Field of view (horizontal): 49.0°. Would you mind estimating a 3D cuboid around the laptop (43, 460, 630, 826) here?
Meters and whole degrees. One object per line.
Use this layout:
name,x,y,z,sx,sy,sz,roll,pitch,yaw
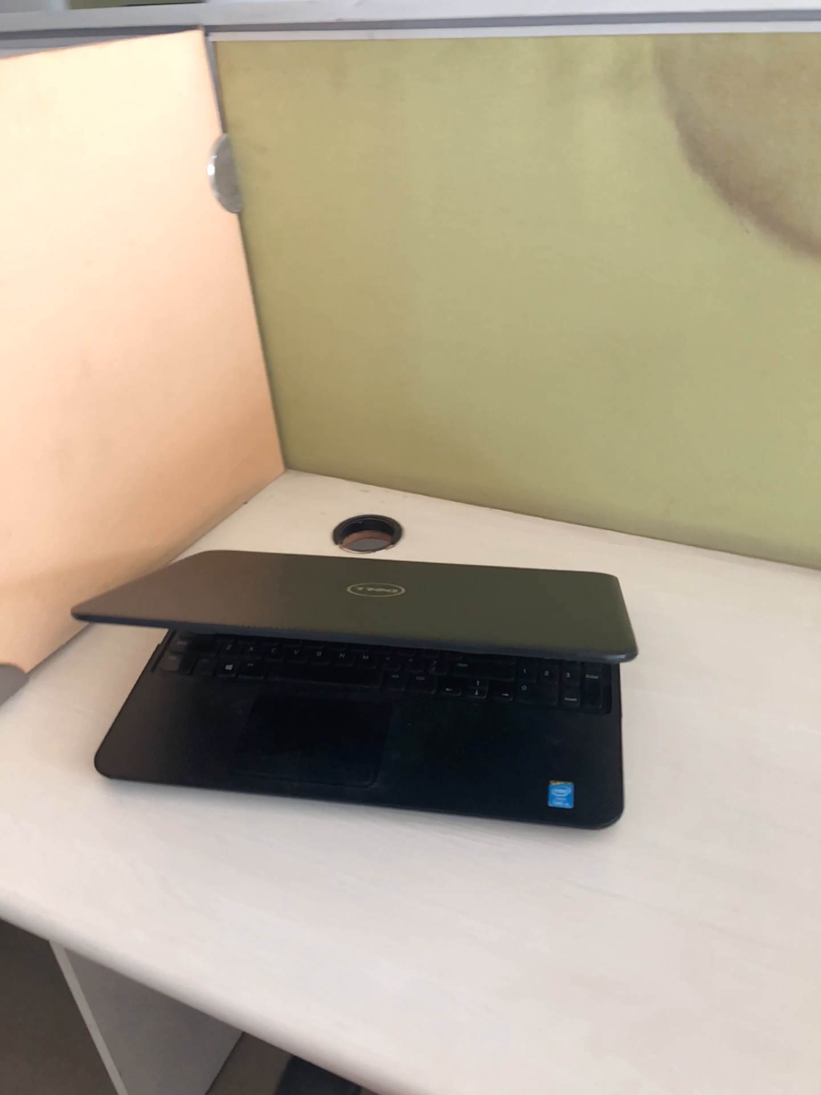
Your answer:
laptop,-0.031,0.051,0.672,0.366,0.106,0.248,3,36,10
